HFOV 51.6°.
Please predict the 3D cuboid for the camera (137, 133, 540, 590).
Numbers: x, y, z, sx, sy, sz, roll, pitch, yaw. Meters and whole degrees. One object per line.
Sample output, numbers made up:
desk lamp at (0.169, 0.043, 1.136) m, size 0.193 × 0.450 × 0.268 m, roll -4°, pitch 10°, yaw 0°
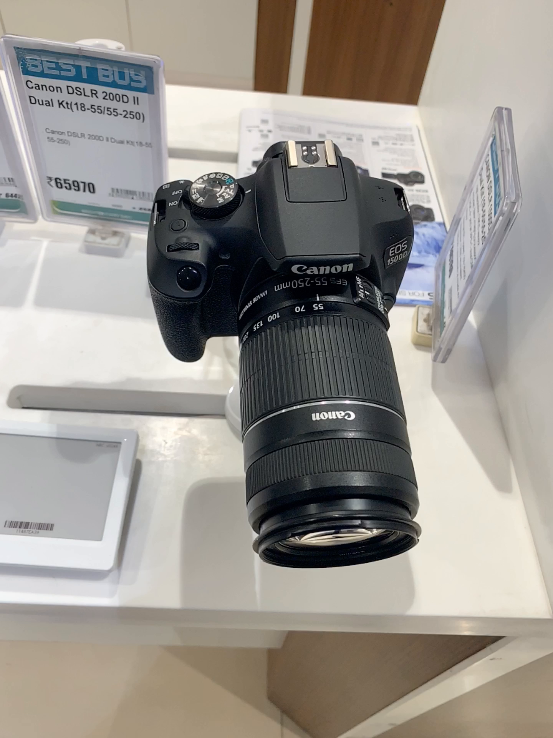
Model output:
camera at (0.008, -0.005, 0.241) m, size 0.117 × 0.090 × 0.164 m, roll -2°, pitch 61°, yaw -7°
